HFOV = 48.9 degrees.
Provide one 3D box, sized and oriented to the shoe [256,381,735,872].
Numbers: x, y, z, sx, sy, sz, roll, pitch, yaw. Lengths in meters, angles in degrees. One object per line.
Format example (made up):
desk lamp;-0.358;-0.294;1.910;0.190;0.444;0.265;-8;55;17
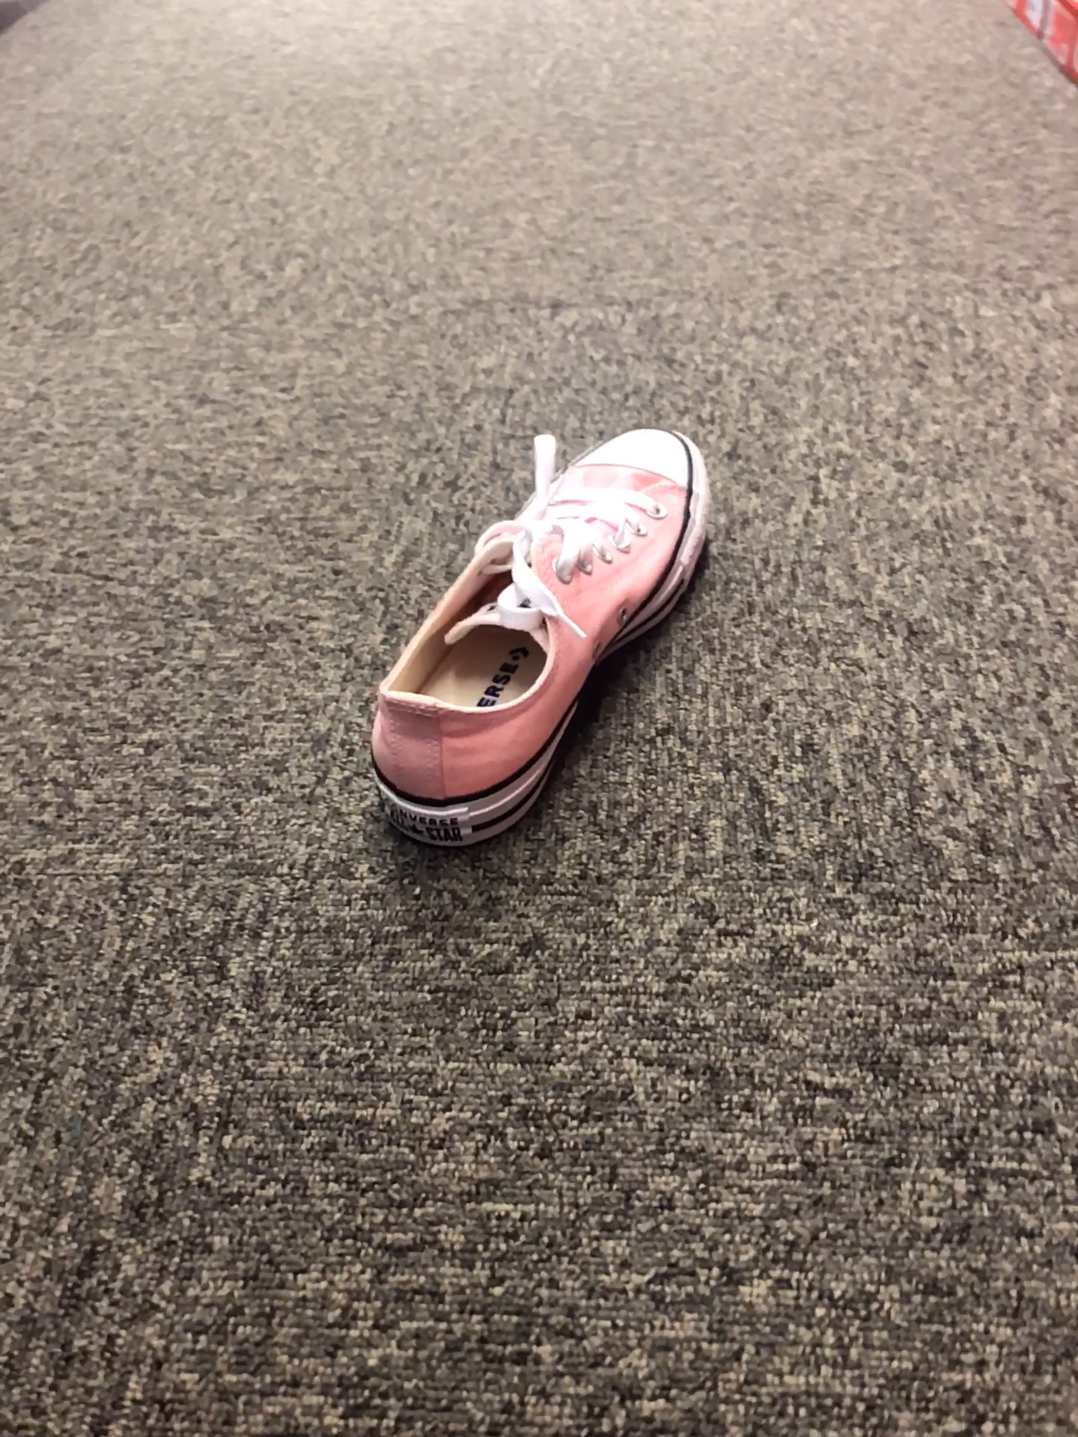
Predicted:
shoe;-0.001;-0.061;0.535;0.100;0.060;0.282;14;42;19
